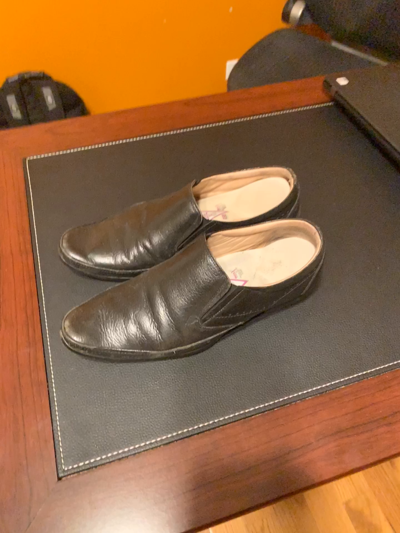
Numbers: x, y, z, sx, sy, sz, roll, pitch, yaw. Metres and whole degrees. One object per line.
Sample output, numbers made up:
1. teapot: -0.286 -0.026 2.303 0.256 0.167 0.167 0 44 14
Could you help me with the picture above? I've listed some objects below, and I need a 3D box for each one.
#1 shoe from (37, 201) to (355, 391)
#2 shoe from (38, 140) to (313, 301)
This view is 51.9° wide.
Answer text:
1. shoe: -0.005 0.025 0.423 0.284 0.077 0.106 -13 57 -10
2. shoe: -0.029 -0.058 0.485 0.284 0.077 0.111 -13 57 -10
